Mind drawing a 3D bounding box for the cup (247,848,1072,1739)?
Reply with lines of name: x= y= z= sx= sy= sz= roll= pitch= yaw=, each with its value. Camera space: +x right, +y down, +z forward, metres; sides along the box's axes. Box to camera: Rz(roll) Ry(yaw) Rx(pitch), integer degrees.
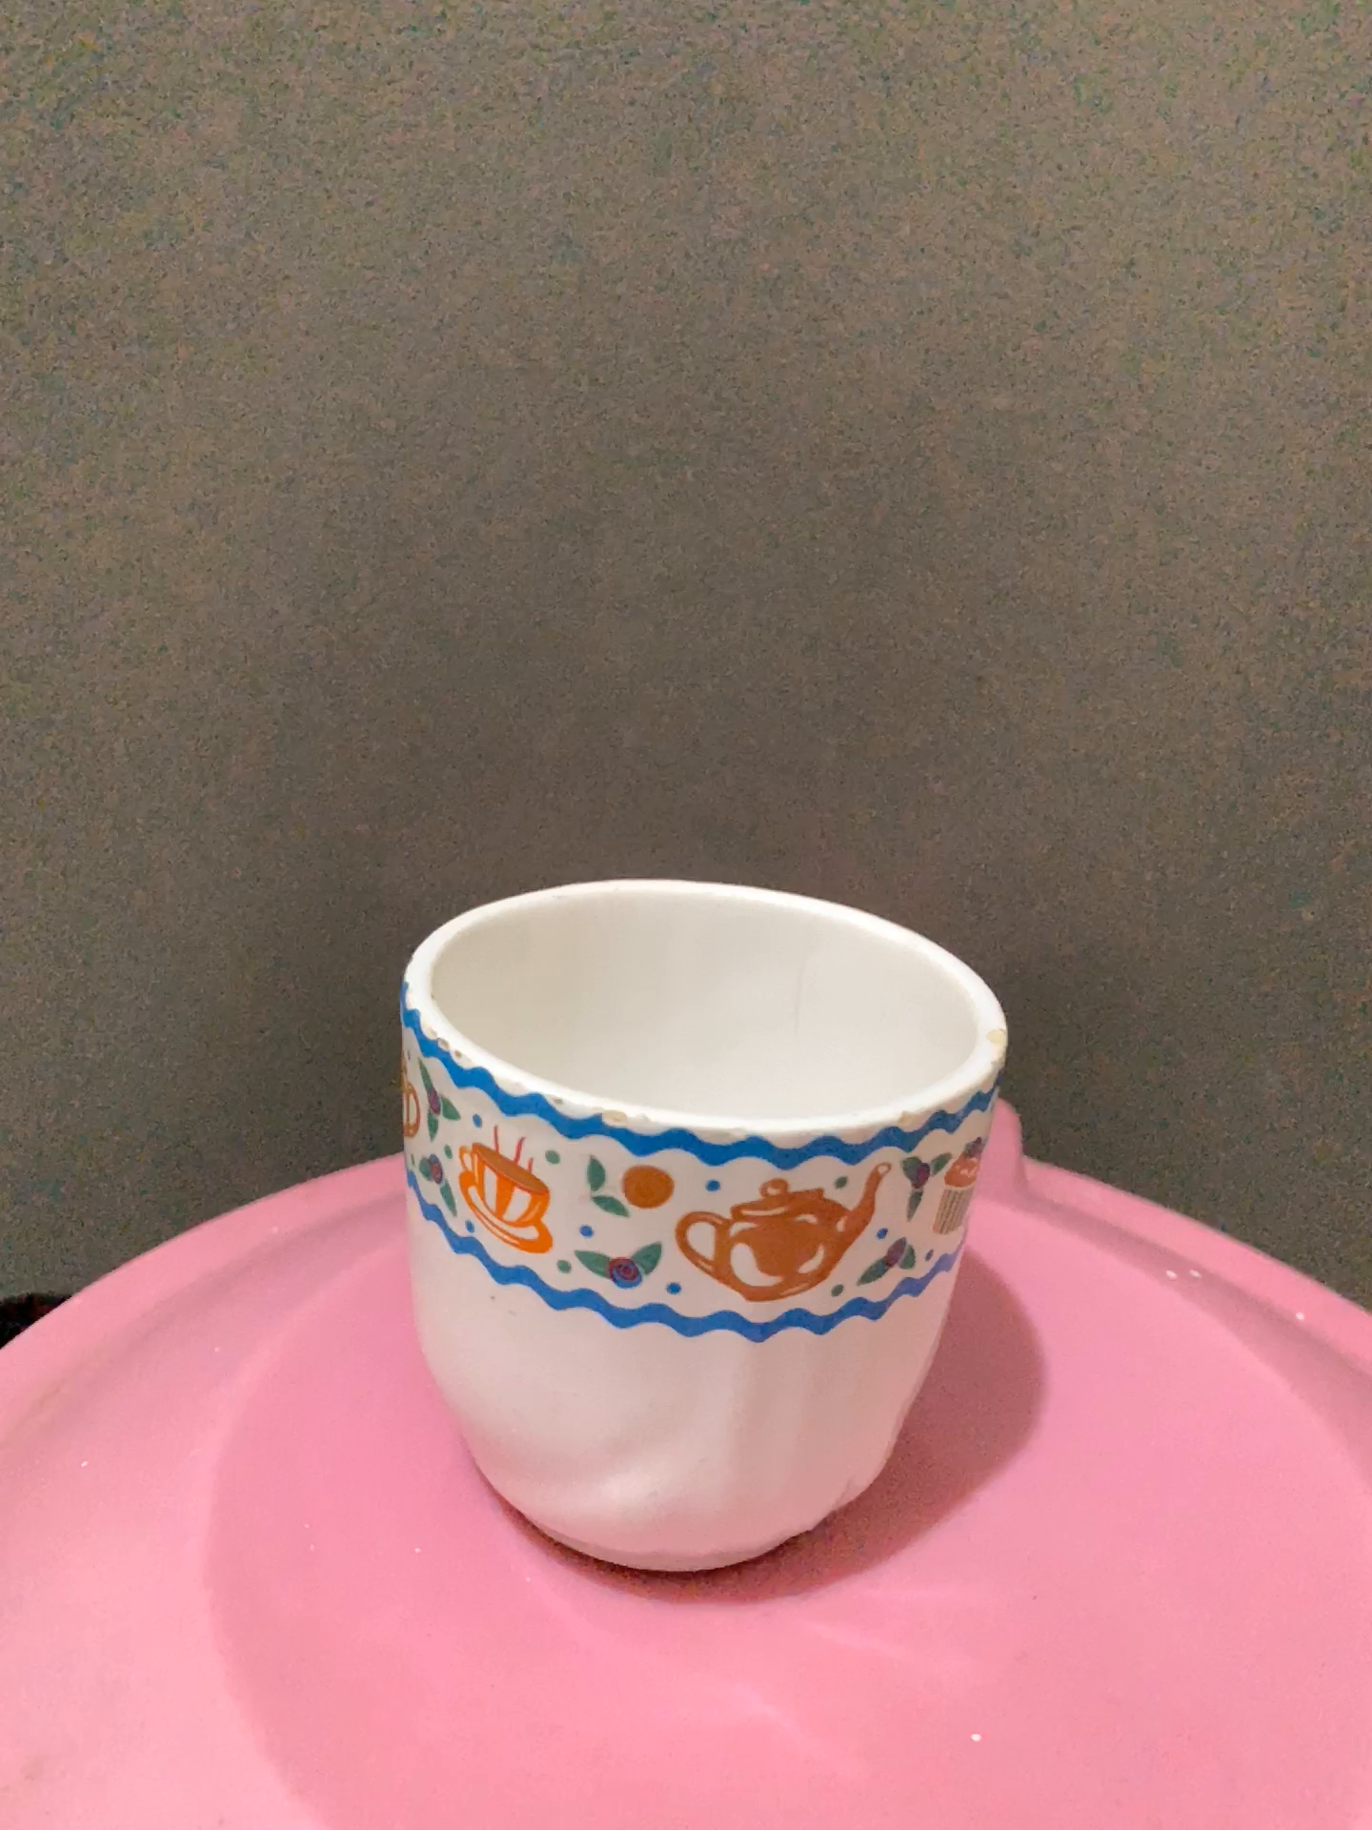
cup: x=-0.001 y=0.034 z=0.174 sx=0.070 sy=0.060 sz=0.070 roll=4 pitch=17 yaw=-1
